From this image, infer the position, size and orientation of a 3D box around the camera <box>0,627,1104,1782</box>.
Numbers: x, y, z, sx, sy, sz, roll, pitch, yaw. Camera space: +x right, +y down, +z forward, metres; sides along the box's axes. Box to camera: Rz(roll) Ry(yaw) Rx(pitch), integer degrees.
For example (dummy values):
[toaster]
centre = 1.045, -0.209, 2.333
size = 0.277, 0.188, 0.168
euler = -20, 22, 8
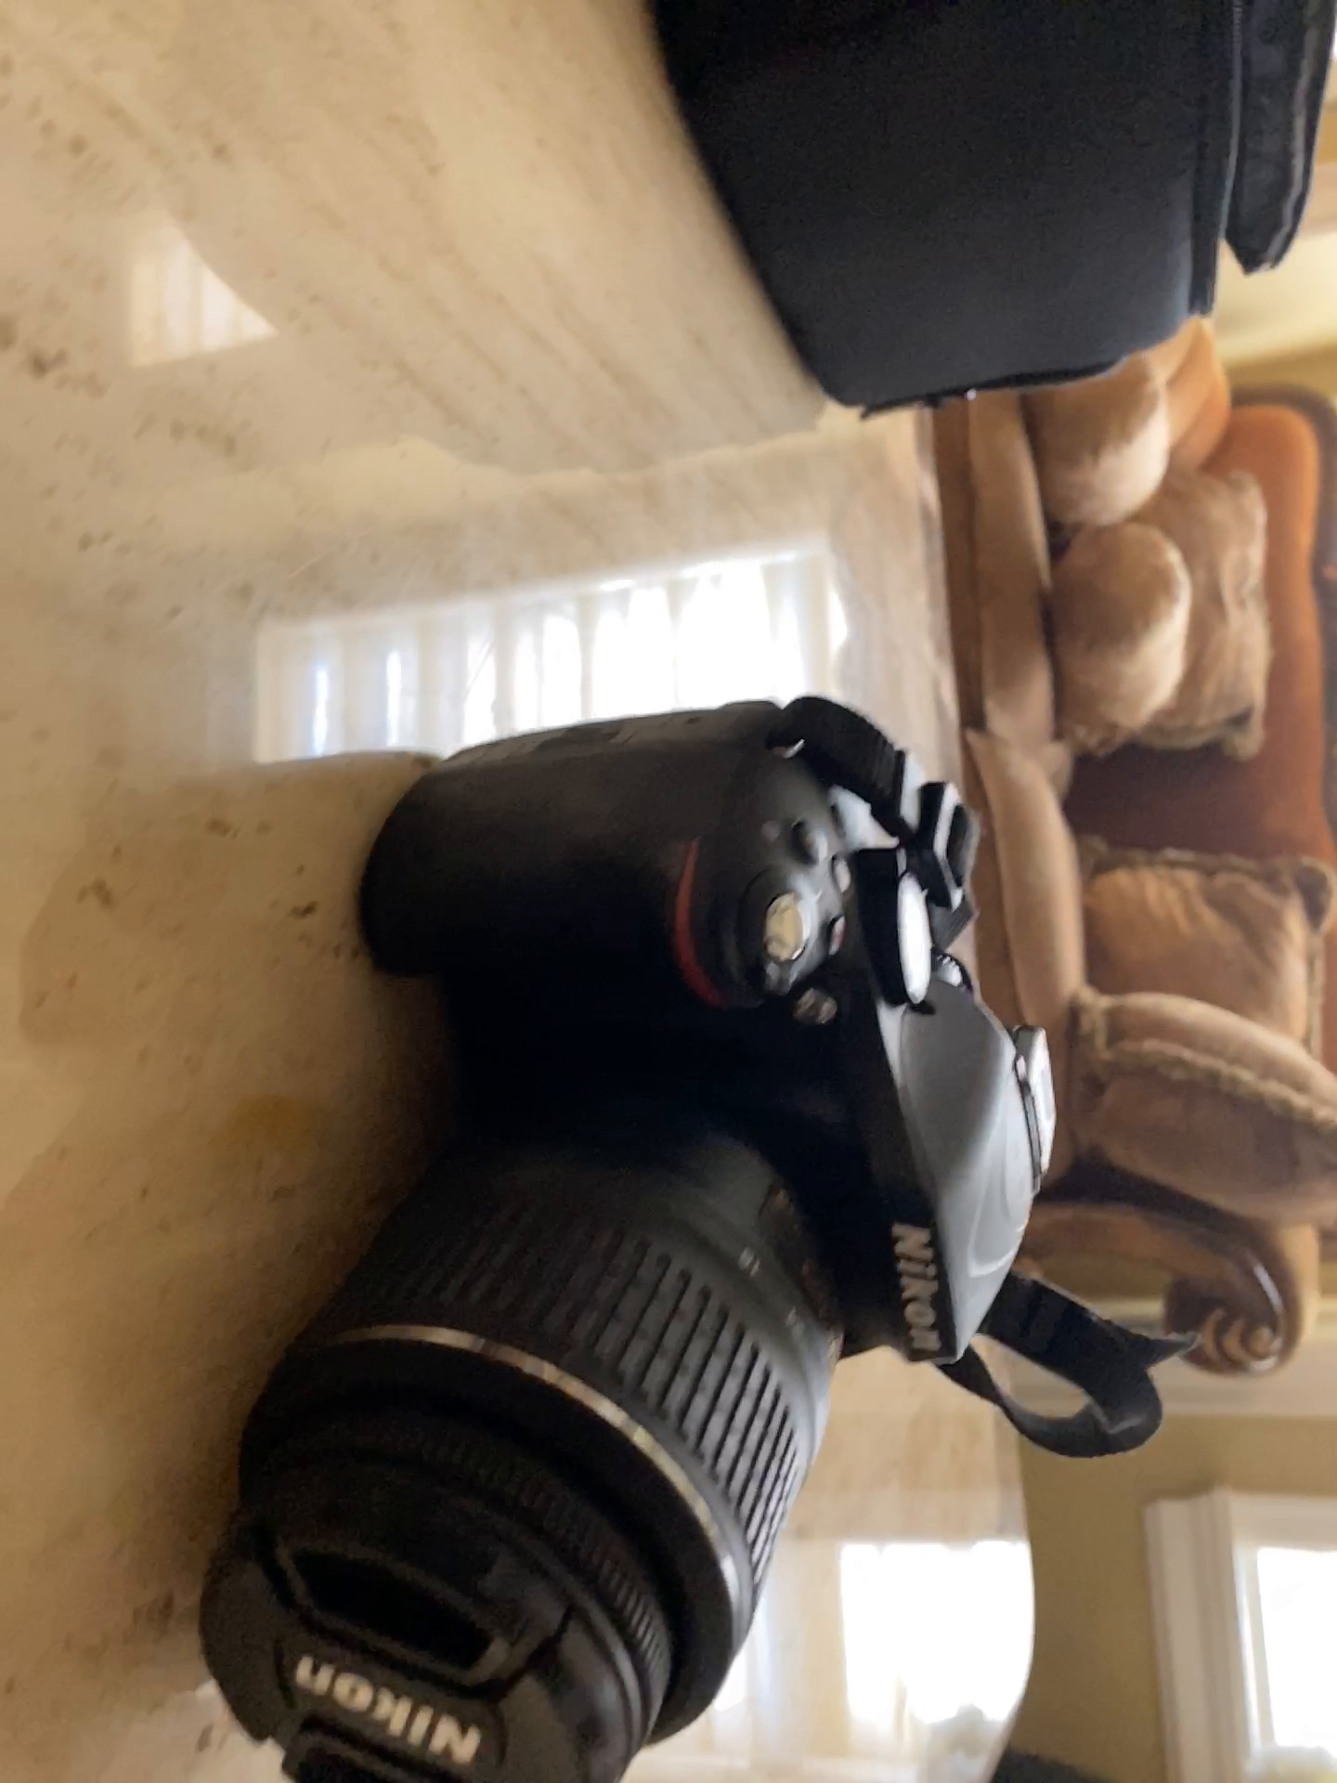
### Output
[camera]
centre = 0.009, 0.057, 0.222
size = 0.160, 0.100, 0.152
euler = -55, 135, -62
